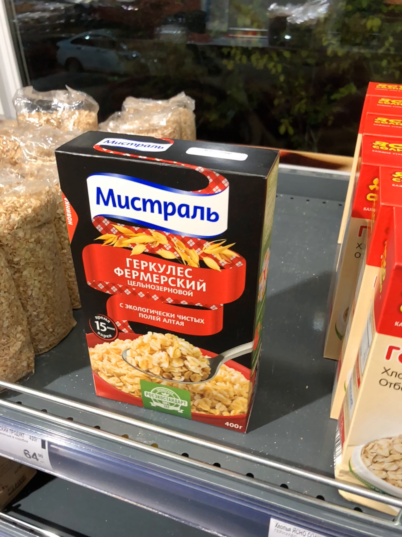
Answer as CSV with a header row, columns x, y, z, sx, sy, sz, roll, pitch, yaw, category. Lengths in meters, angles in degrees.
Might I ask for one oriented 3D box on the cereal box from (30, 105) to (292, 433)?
x,y,z,sx,sy,sz,roll,pitch,yaw,category
-0.021,0.009,0.314,0.140,0.219,0.050,9,35,14,cereal box
